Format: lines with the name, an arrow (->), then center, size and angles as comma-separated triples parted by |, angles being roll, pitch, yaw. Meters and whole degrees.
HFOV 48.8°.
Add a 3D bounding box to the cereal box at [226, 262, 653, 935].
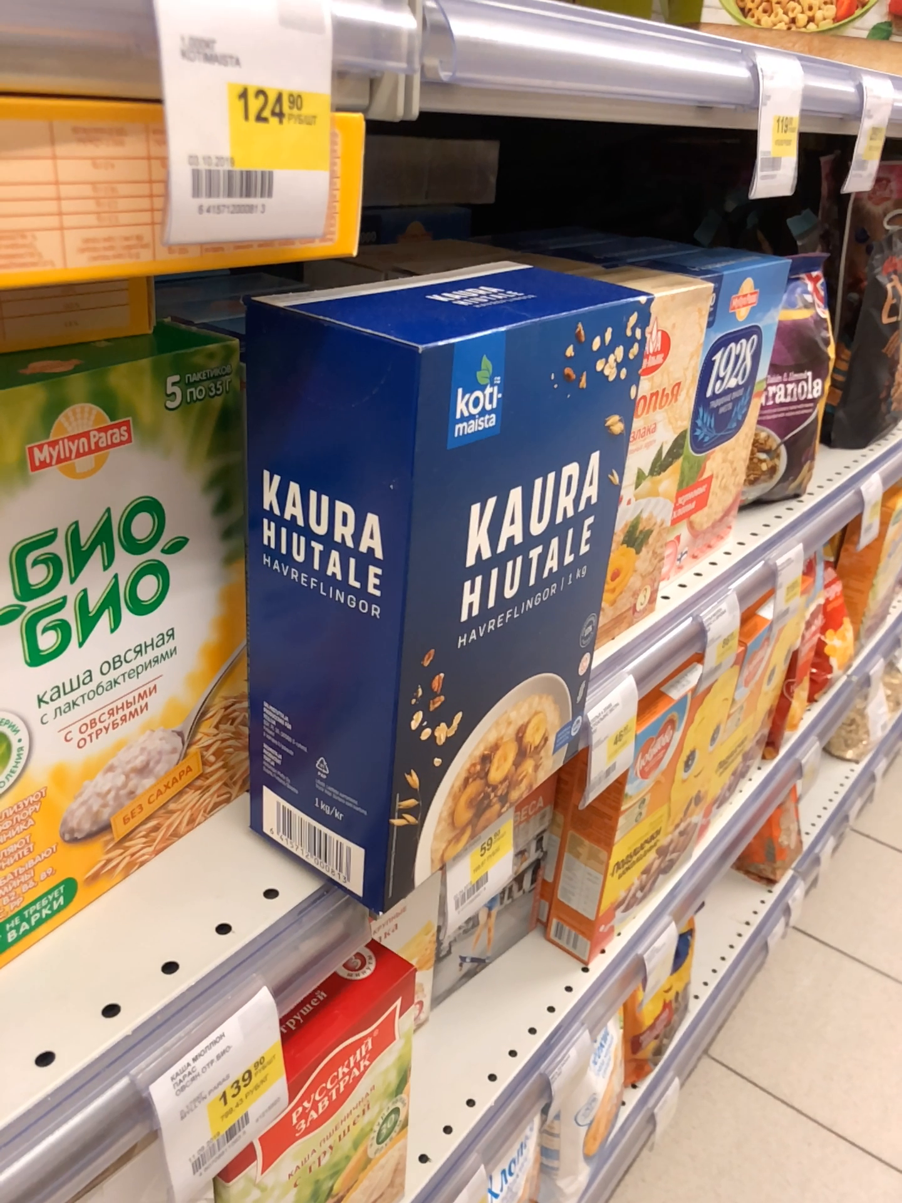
cereal box -> -0.005, -0.010, 0.412 | 0.080, 0.229, 0.151 | 22, 31, 31
